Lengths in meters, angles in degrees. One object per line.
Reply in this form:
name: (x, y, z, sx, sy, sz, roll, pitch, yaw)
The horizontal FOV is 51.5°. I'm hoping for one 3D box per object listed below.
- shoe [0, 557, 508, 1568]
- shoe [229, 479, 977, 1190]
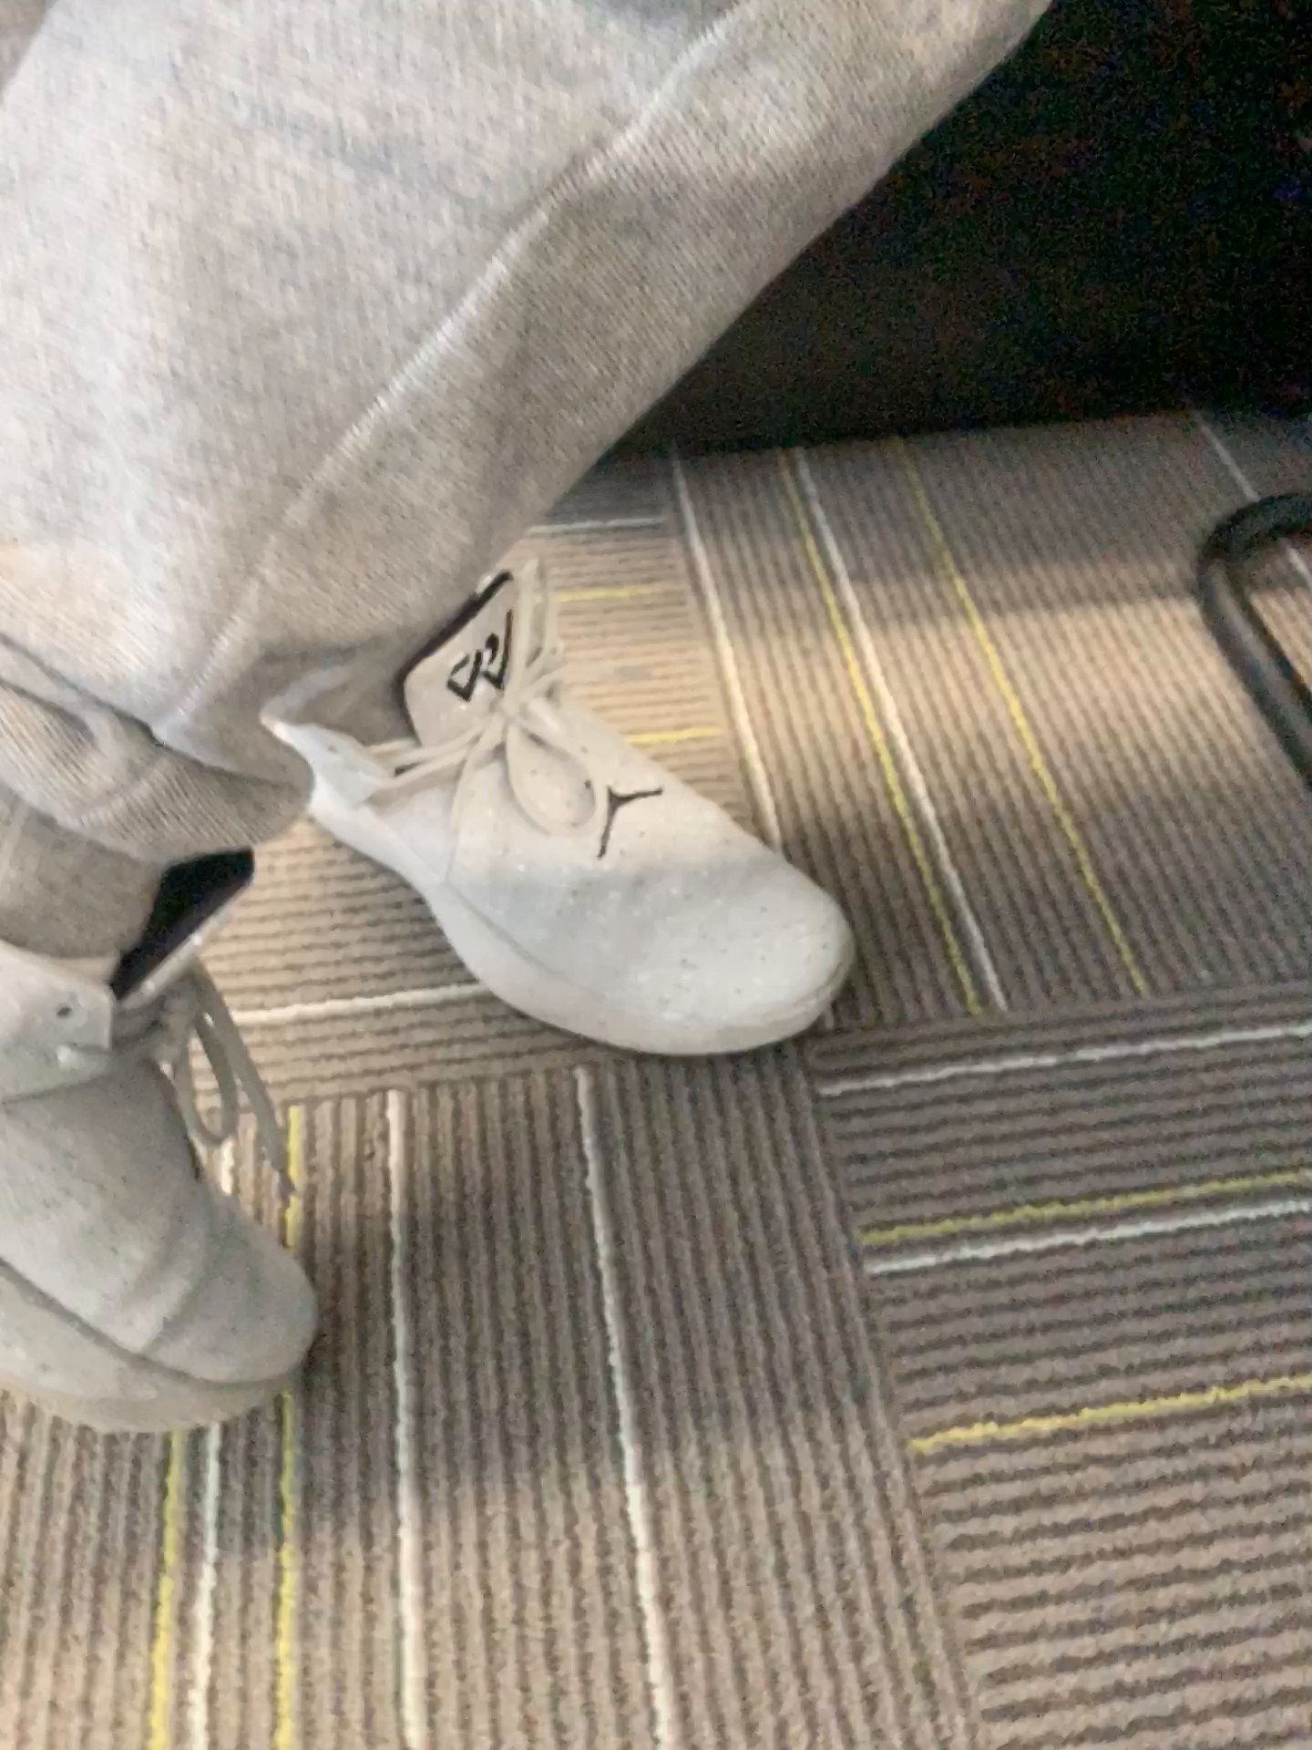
shoe: (-0.181, 0.072, 0.385, 0.120, 0.279, 0.121, -38, 44, -3)
shoe: (-0.029, -0.025, 0.597, 0.281, 0.149, 0.130, 34, 58, 23)
